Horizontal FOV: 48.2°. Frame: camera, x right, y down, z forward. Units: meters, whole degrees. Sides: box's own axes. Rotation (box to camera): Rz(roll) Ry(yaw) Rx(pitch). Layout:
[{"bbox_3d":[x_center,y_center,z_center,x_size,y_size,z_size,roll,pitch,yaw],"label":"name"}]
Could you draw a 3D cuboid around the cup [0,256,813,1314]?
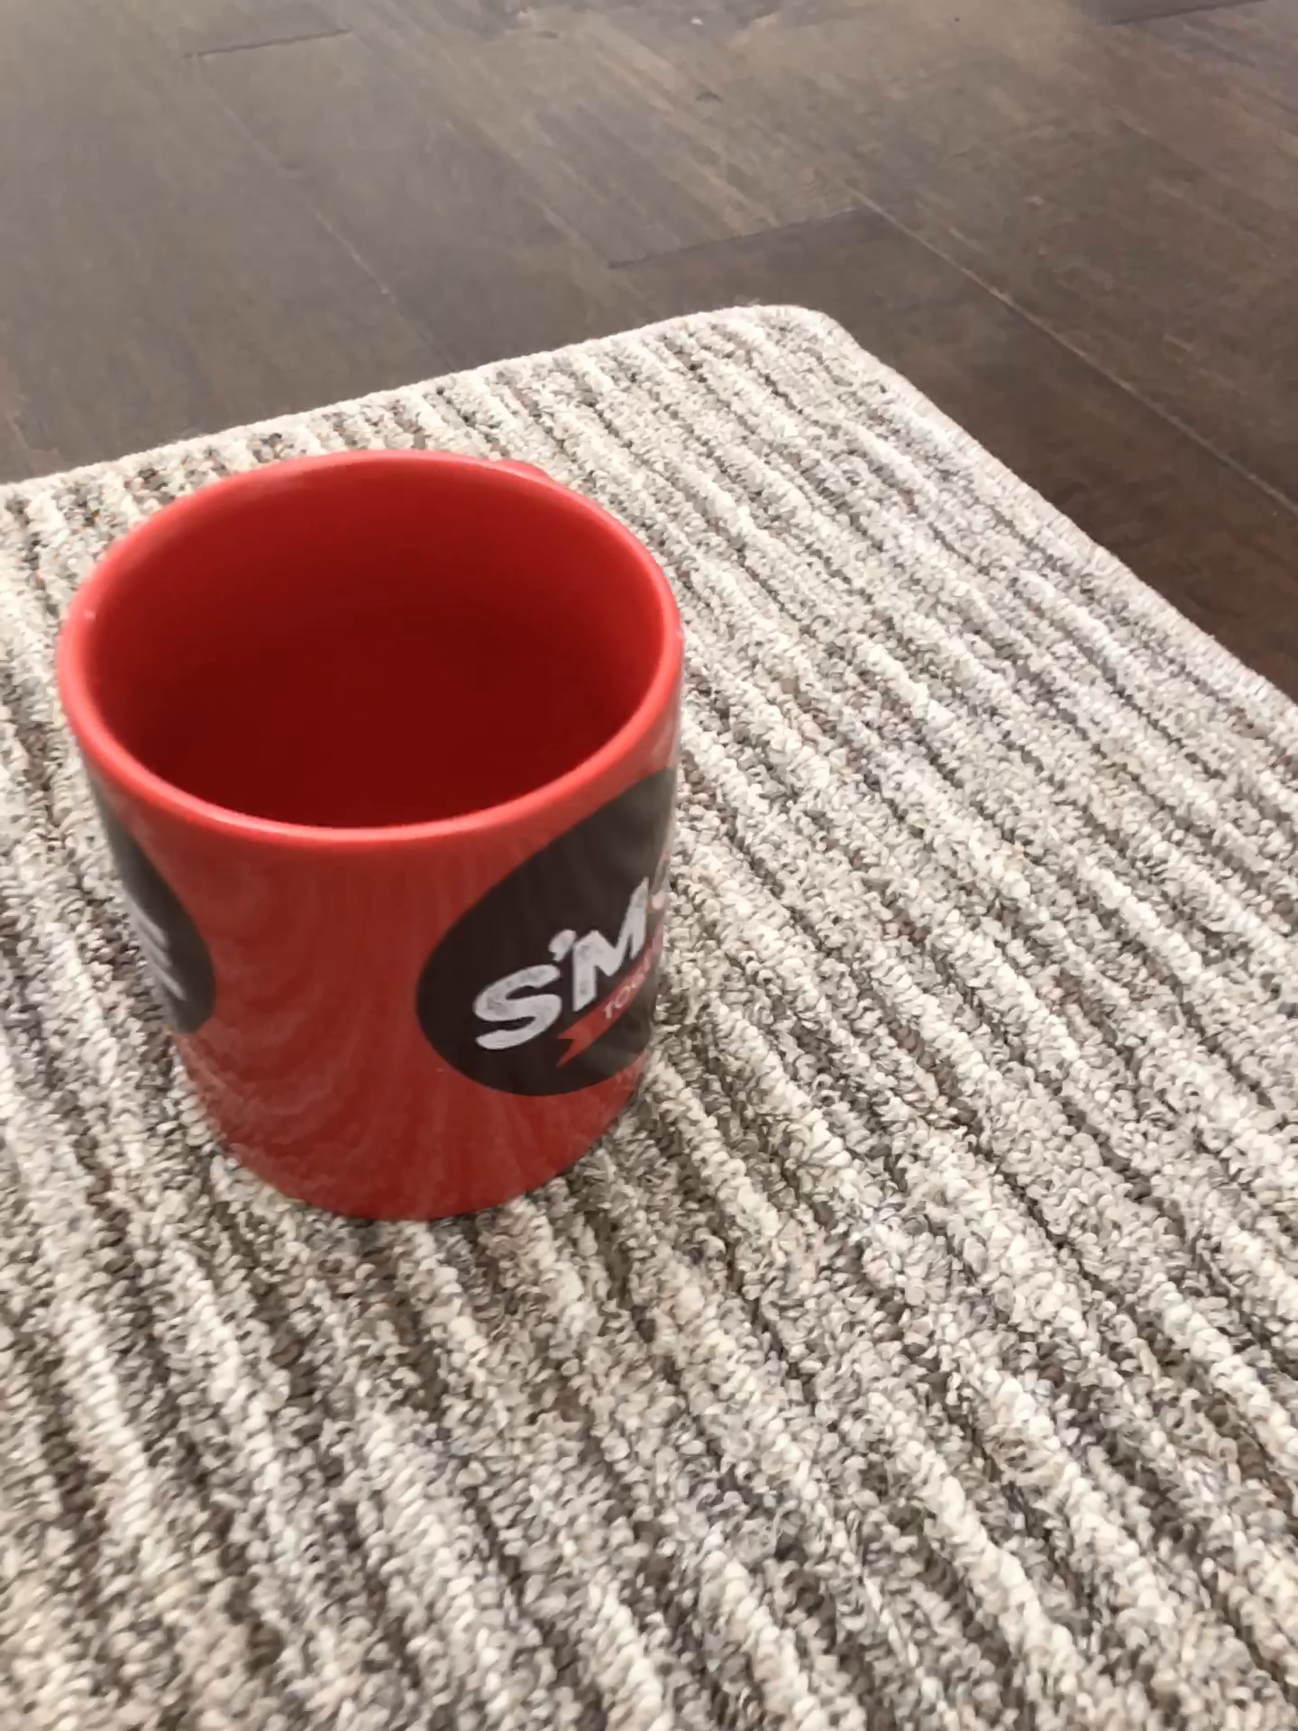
[{"bbox_3d":[-0.042,-0.021,0.287,0.110,0.119,0.151,12,48,7],"label":"cup"}]
